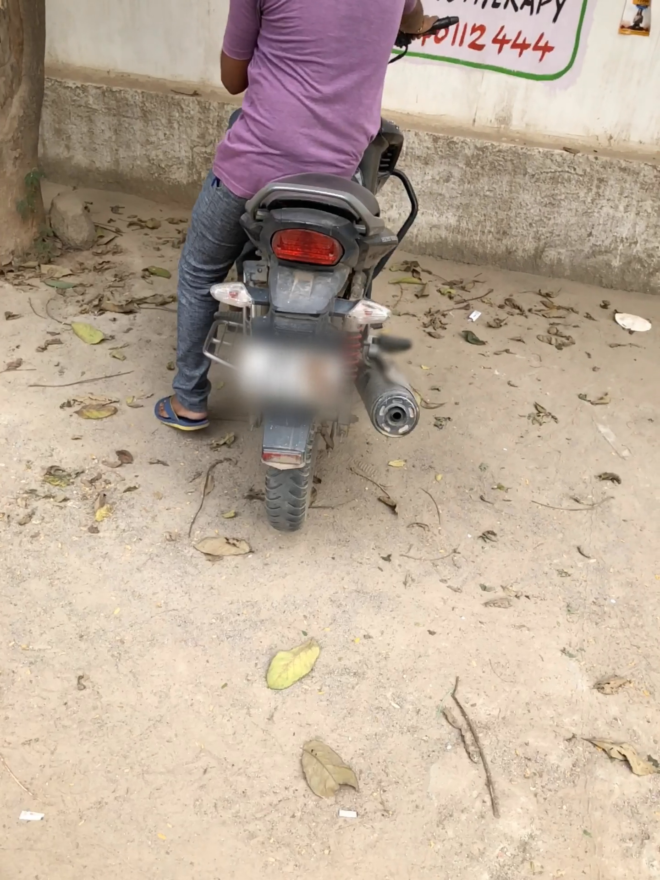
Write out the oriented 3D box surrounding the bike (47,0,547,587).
[{"bbox_3d":[-0.167,-0.725,2.241,0.824,1.190,1.849,2,35,-5],"label":"bike"}]
